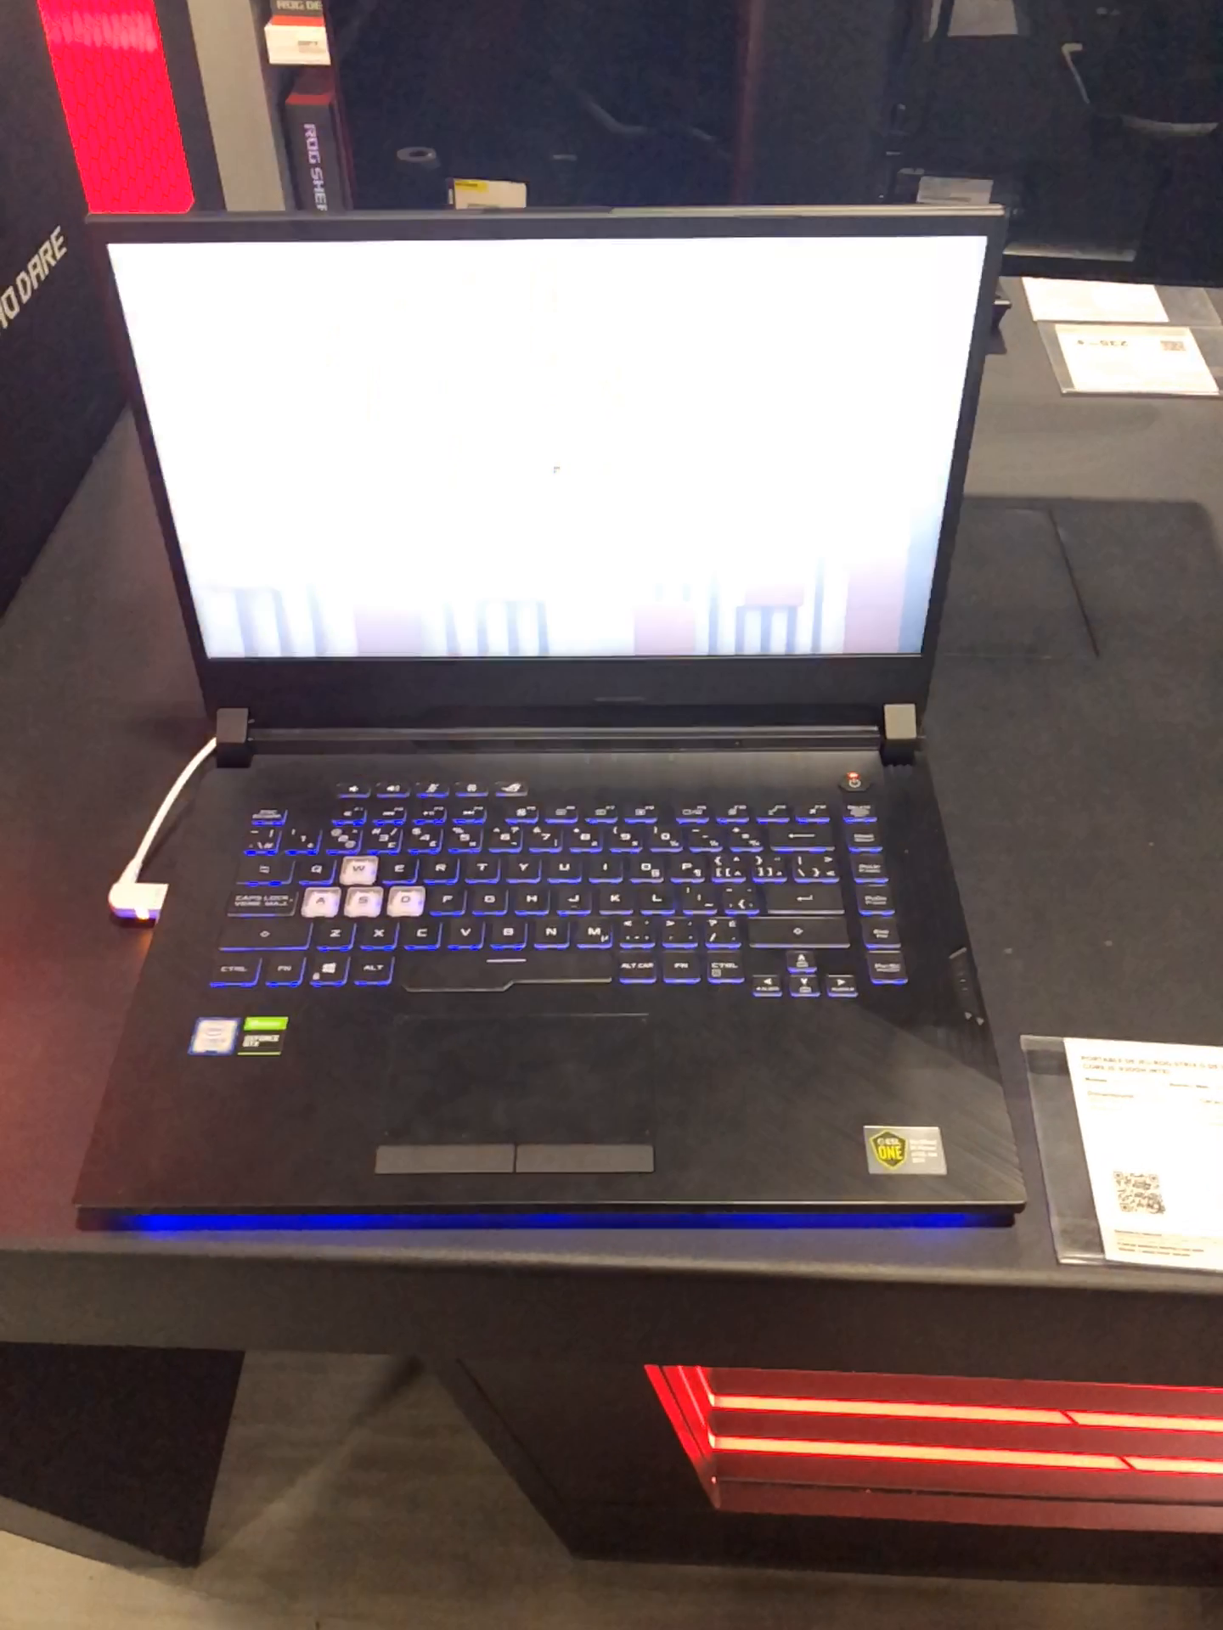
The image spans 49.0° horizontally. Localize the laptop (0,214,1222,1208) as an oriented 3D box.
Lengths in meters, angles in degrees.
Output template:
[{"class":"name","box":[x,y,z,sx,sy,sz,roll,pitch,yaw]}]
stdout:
[{"class":"laptop","box":[-0.024,-0.040,0.520,0.360,0.268,0.276,0,46,0]}]
